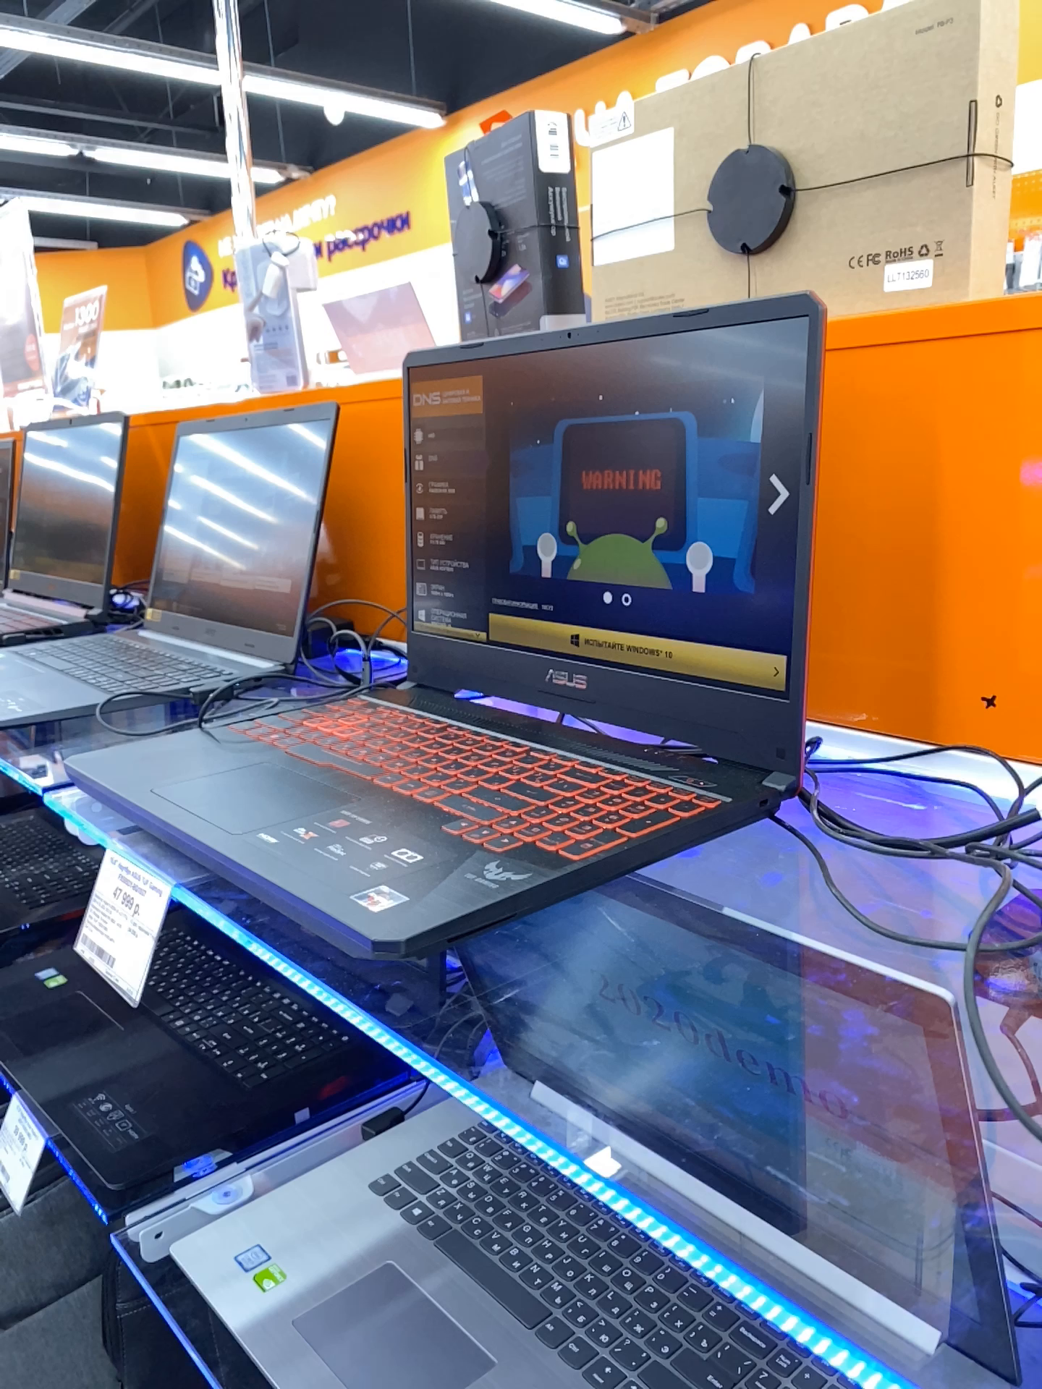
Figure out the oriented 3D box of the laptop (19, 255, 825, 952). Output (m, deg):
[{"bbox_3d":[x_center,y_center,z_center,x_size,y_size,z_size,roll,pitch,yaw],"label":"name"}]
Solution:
[{"bbox_3d":[-0.065,-0.078,0.605,0.286,0.248,0.360,-13,16,-39],"label":"laptop"}]
